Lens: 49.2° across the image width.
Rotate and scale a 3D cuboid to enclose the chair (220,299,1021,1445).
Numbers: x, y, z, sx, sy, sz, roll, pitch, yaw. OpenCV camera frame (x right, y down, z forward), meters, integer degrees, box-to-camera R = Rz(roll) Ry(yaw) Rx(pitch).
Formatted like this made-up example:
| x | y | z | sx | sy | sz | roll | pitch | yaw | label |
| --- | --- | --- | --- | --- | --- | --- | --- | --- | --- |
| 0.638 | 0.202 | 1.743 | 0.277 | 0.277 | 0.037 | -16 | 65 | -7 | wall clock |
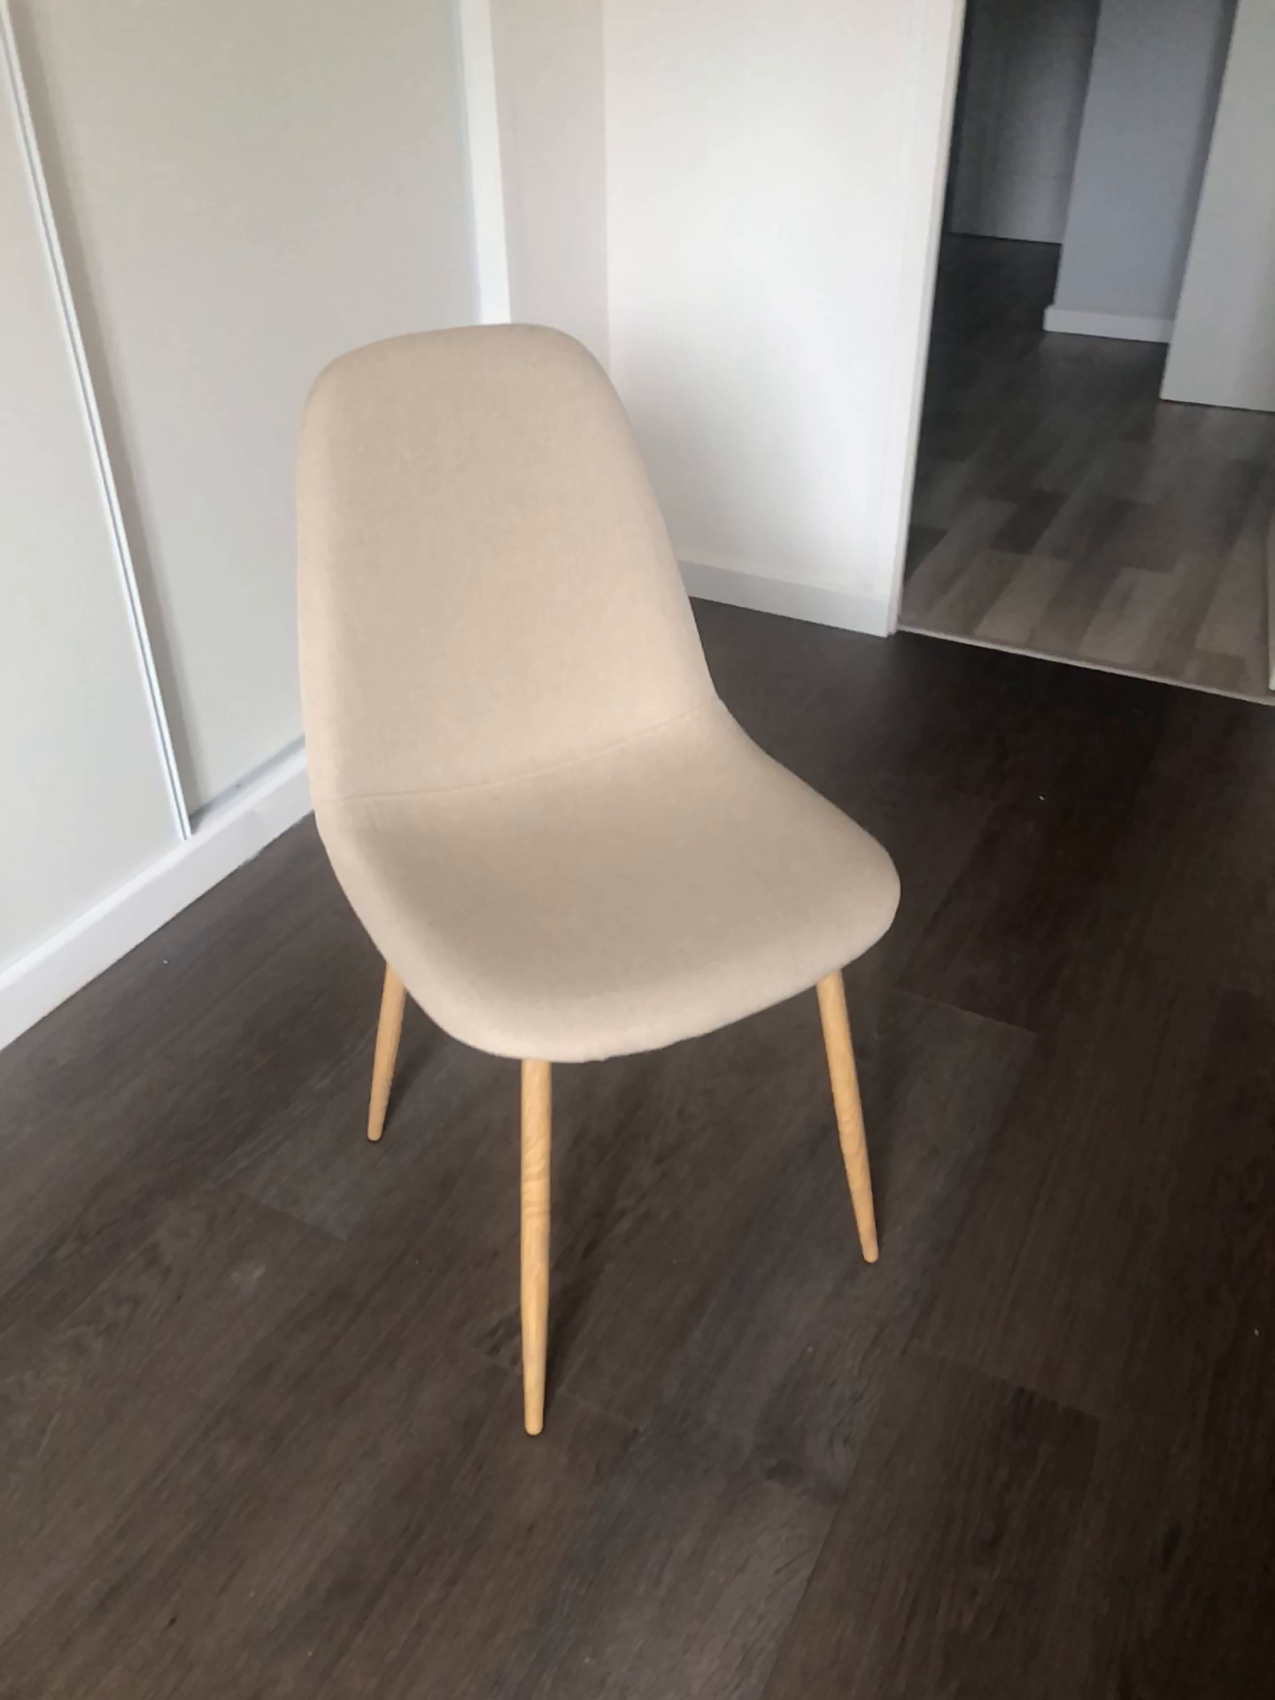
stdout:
| x | y | z | sx | sy | sz | roll | pitch | yaw | label |
| --- | --- | --- | --- | --- | --- | --- | --- | --- | --- |
| -0.039 | 0.006 | 1.296 | 0.431 | 0.845 | 0.502 | -17 | 37 | -23 | chair |
